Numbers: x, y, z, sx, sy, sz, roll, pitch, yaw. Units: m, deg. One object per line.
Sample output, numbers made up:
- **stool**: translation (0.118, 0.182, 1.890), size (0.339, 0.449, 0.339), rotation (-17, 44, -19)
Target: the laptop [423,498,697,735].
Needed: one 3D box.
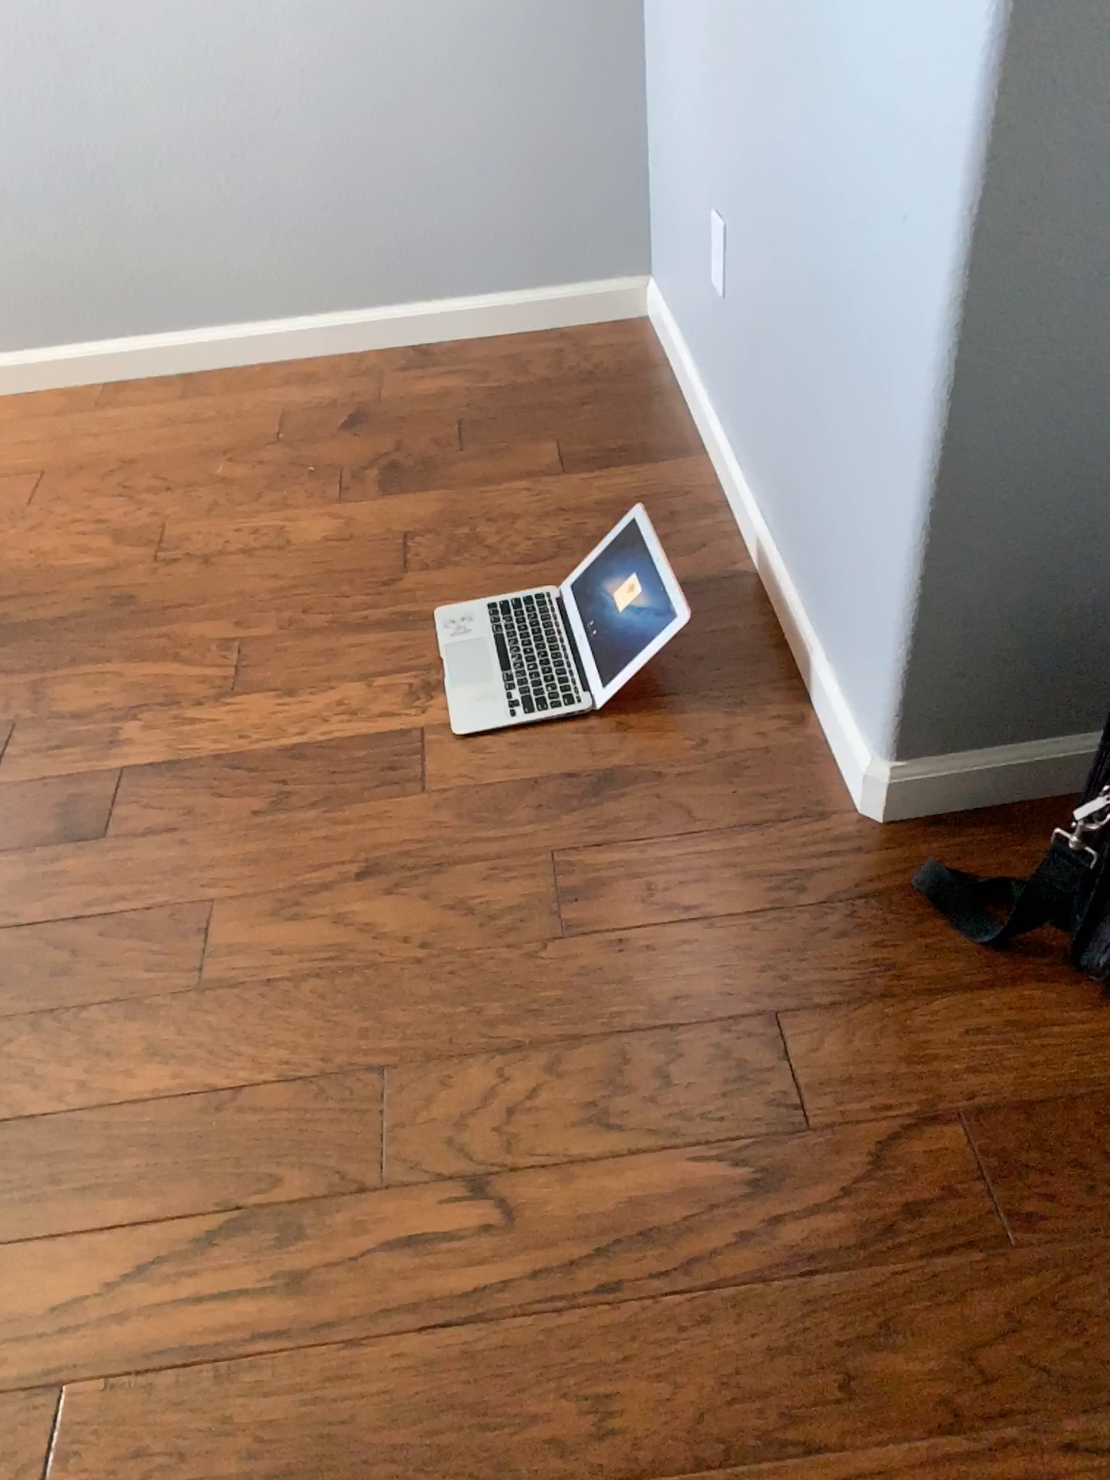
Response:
- **laptop**: translation (-0.002, -0.175, 1.522), size (0.322, 0.117, 0.295), rotation (-11, 41, -2)
